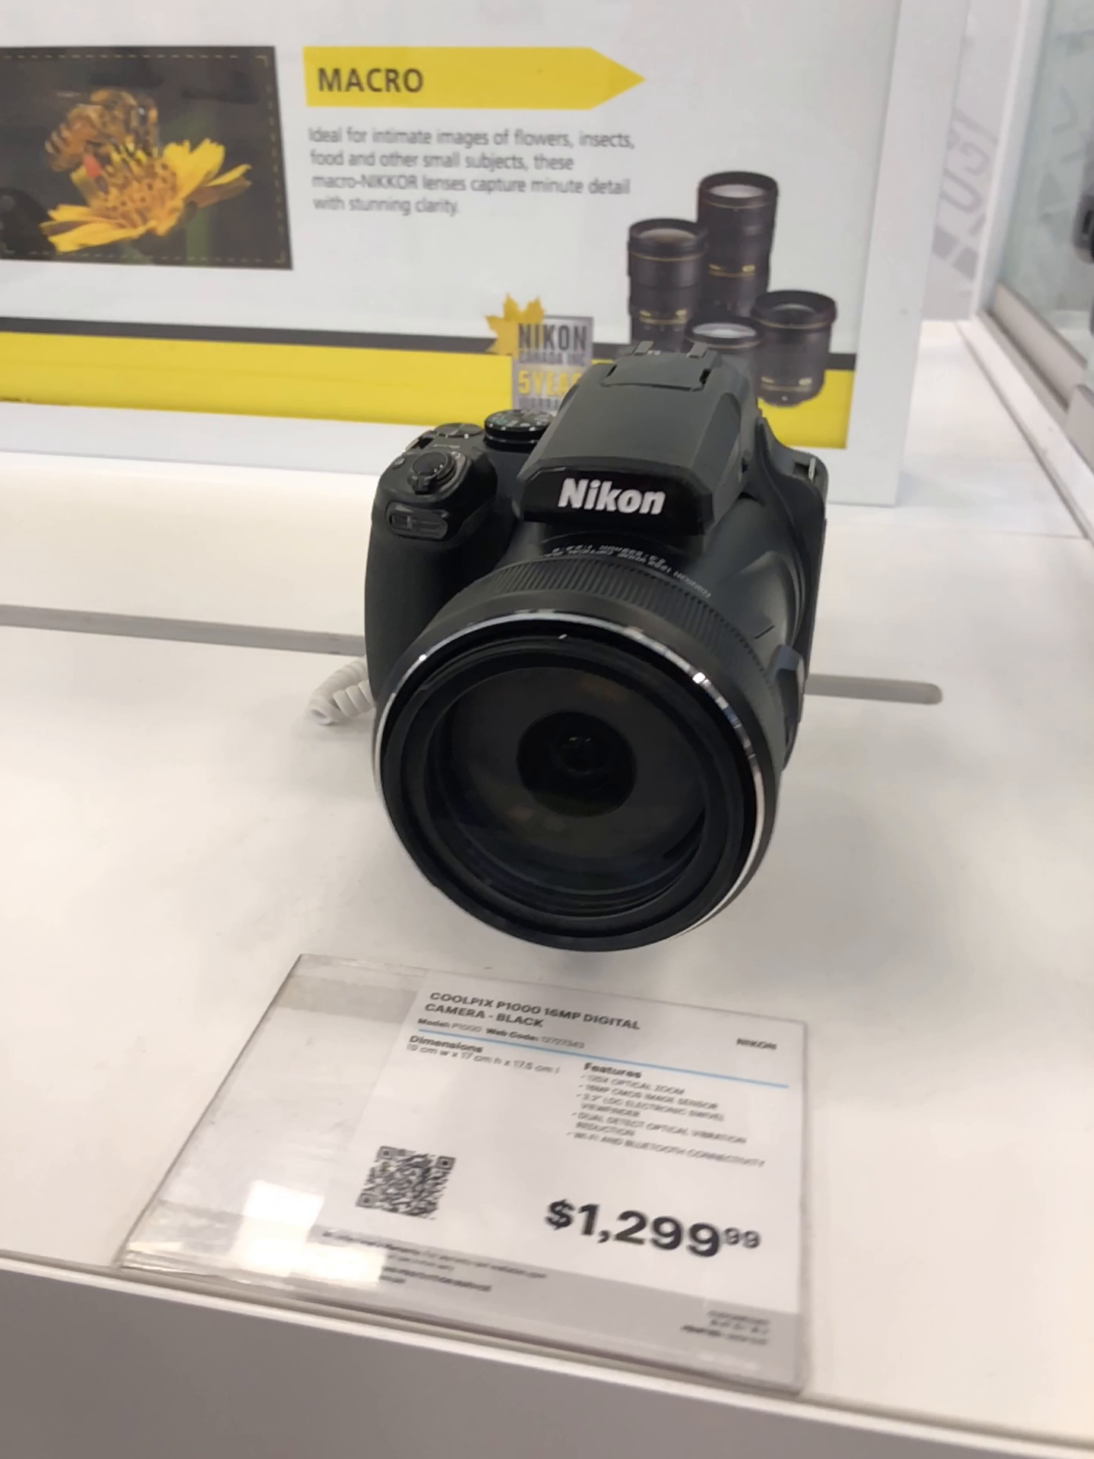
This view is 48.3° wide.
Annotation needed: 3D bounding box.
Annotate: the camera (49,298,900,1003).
[{"bbox_3d":[0.001,-0.042,0.330,0.160,0.110,0.191,6,28,10],"label":"camera"}]
